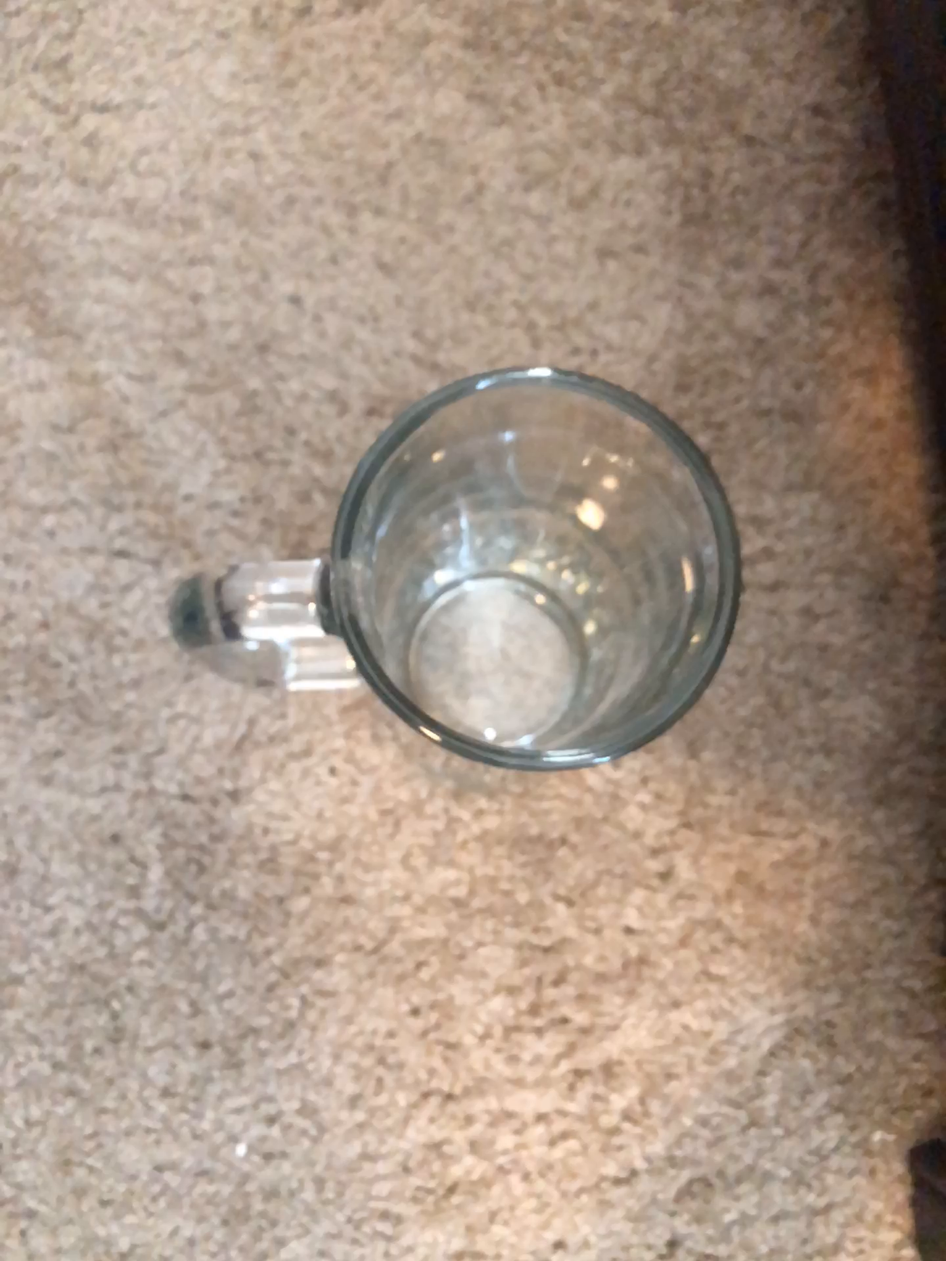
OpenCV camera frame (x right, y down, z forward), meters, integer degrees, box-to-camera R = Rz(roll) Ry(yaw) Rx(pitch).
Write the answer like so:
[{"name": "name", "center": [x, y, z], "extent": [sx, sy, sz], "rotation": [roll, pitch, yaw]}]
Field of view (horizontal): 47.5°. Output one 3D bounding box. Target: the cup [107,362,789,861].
[{"name": "cup", "center": [-0.011, 0.005, 0.295], "extent": [0.133, 0.156, 0.096], "rotation": [-3, 82, -5]}]
